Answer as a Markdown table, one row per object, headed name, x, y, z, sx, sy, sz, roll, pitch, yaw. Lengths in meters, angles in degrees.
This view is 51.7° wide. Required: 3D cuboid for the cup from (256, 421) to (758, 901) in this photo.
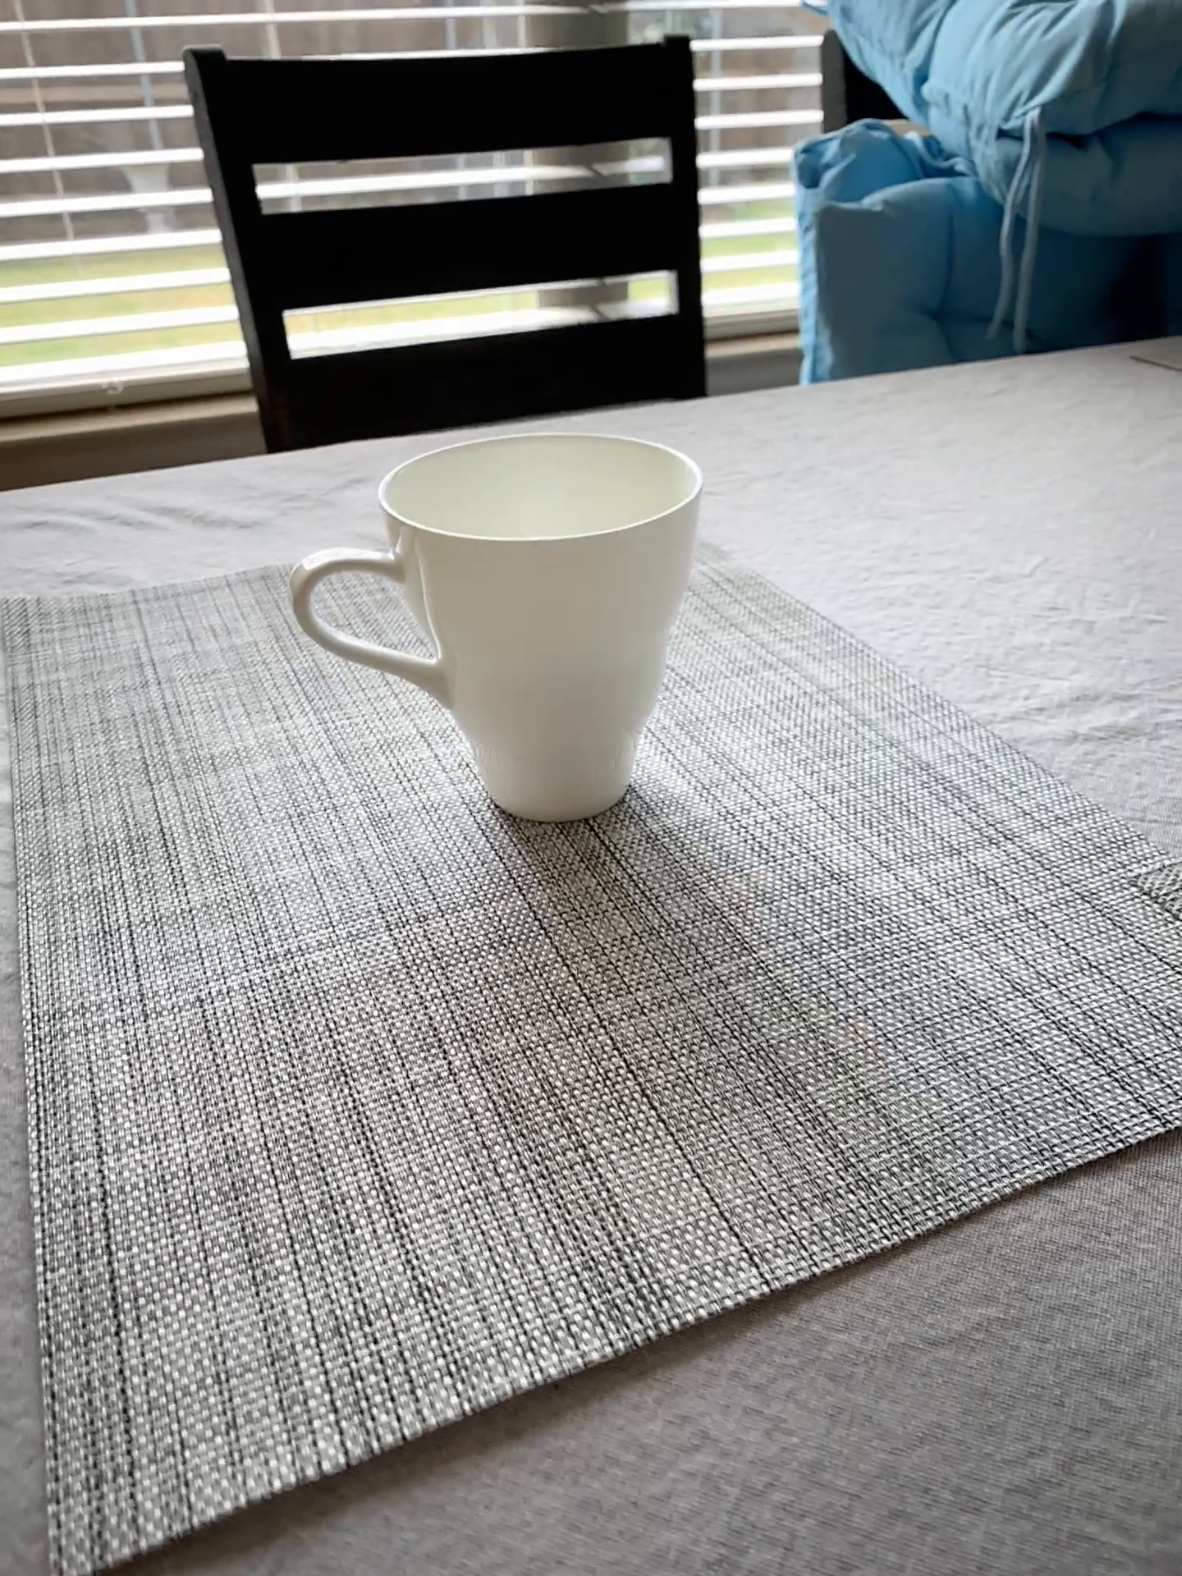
| name | x | y | z | sx | sy | sz | roll | pitch | yaw |
| --- | --- | --- | --- | --- | --- | --- | --- | --- | --- |
| cup | -0.027 | -0.046 | 0.380 | 0.121 | 0.098 | 0.099 | -13 | 32 | -18 |
